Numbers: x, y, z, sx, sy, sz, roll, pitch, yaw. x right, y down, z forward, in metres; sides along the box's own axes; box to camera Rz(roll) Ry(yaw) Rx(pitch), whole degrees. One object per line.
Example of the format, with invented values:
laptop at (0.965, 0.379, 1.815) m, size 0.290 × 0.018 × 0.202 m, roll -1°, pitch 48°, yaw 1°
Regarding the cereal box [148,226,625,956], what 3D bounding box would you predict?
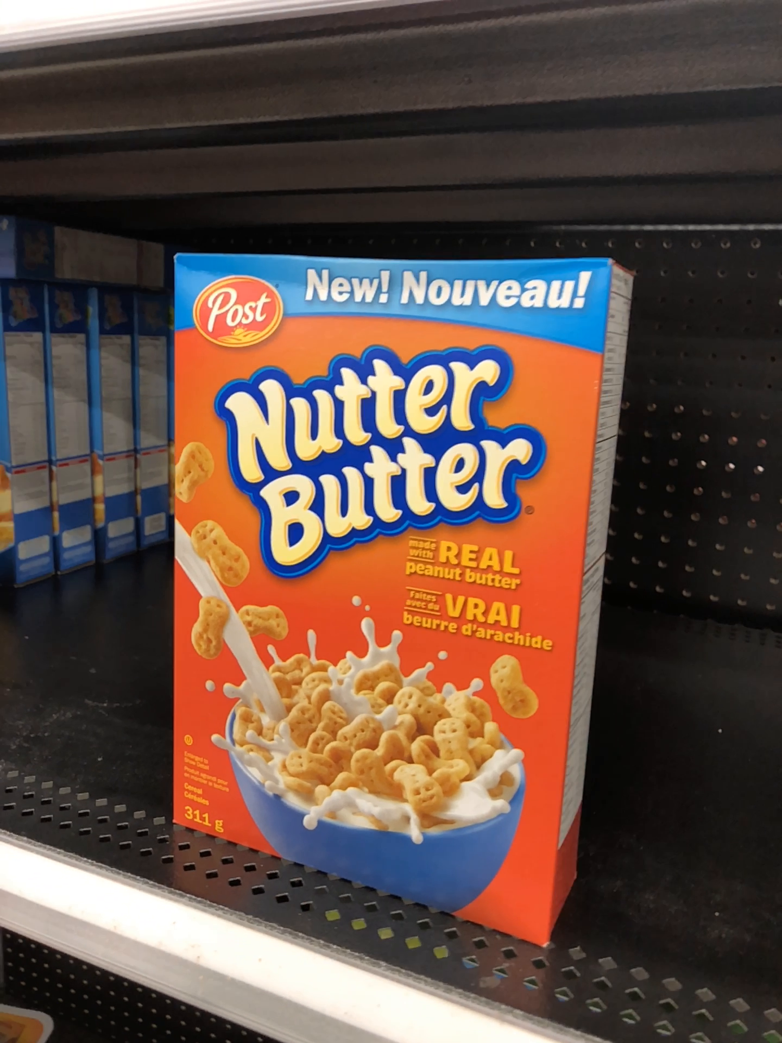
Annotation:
cereal box at (-0.011, 0.020, 0.384) m, size 0.190 × 0.279 × 0.060 m, roll 7°, pitch 12°, yaw 24°
